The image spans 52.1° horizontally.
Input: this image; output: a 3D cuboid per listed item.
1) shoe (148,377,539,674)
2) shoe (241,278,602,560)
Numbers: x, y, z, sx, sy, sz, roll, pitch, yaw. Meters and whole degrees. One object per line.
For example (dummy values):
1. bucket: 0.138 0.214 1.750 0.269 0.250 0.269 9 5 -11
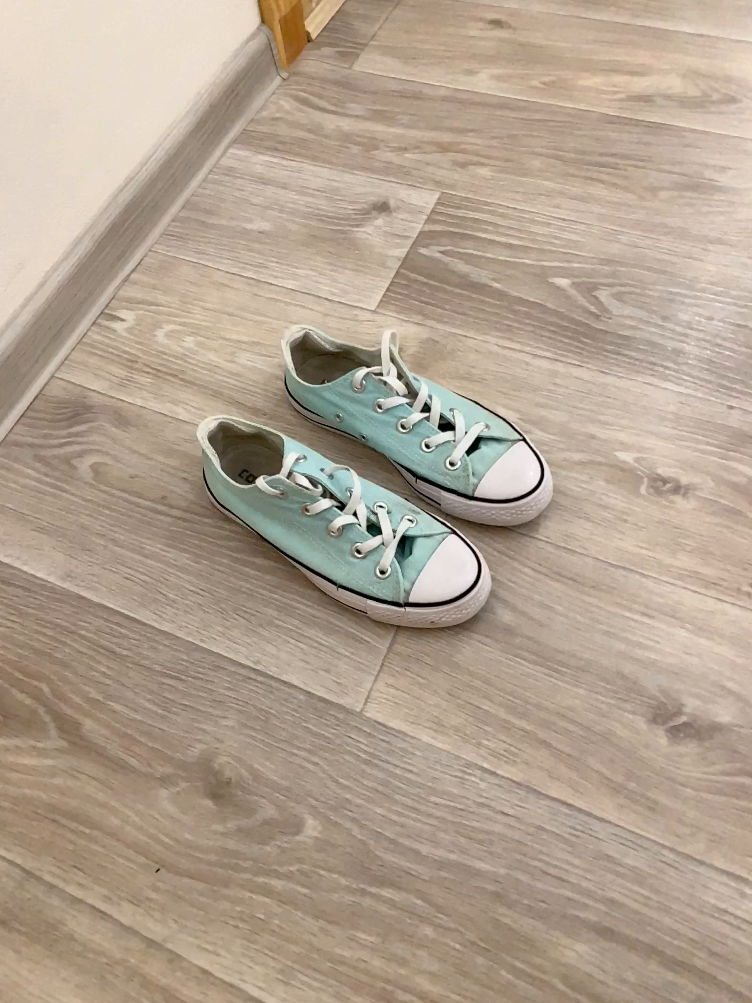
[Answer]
1. shoe: -0.025 0.010 0.534 0.250 0.060 0.092 26 65 19
2. shoe: 0.029 -0.070 0.584 0.251 0.060 0.100 31 67 22
